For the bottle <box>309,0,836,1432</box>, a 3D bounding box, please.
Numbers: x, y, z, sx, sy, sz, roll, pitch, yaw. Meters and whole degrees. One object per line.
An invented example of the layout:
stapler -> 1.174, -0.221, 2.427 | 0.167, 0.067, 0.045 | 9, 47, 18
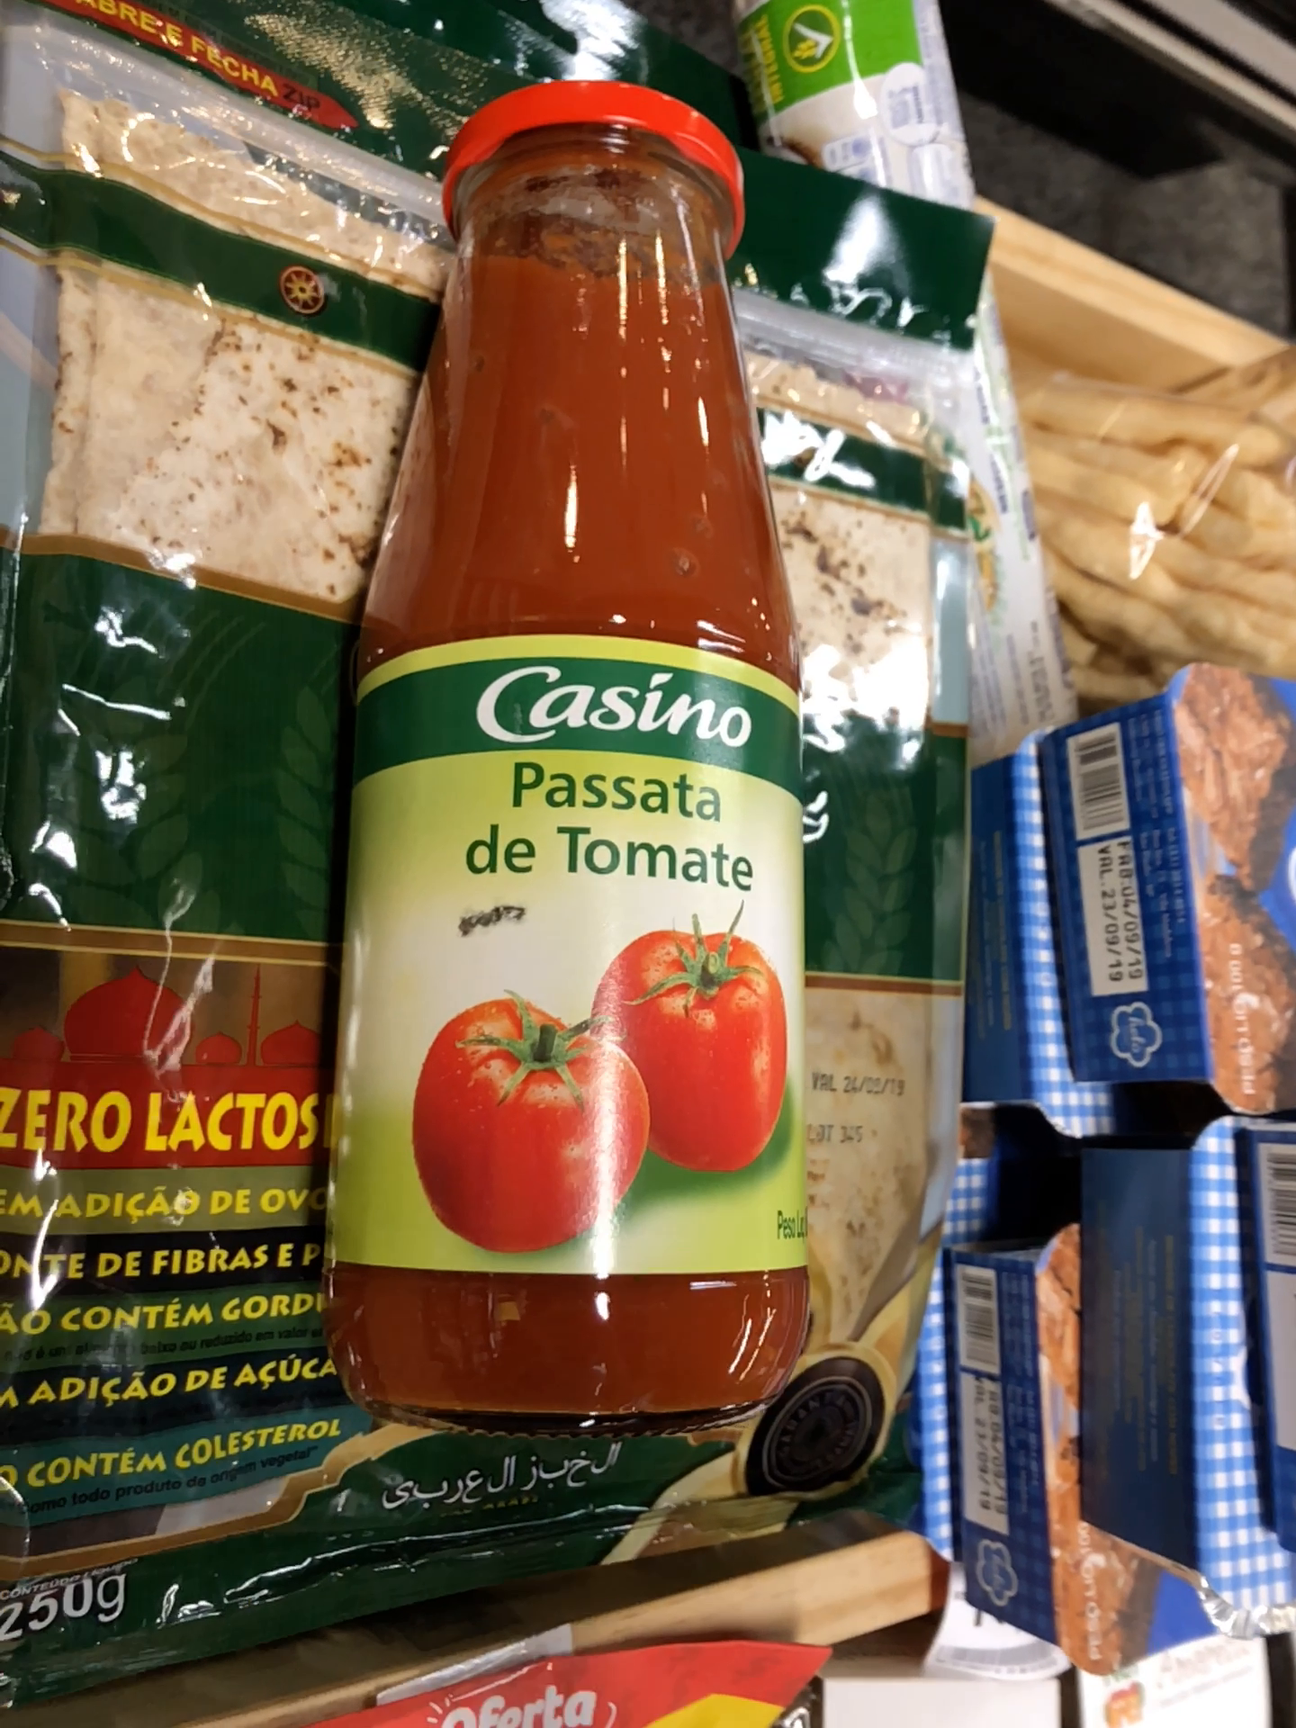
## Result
bottle -> -0.014, -0.034, 0.248 | 0.070, 0.080, 0.230 | 1, 82, -7
